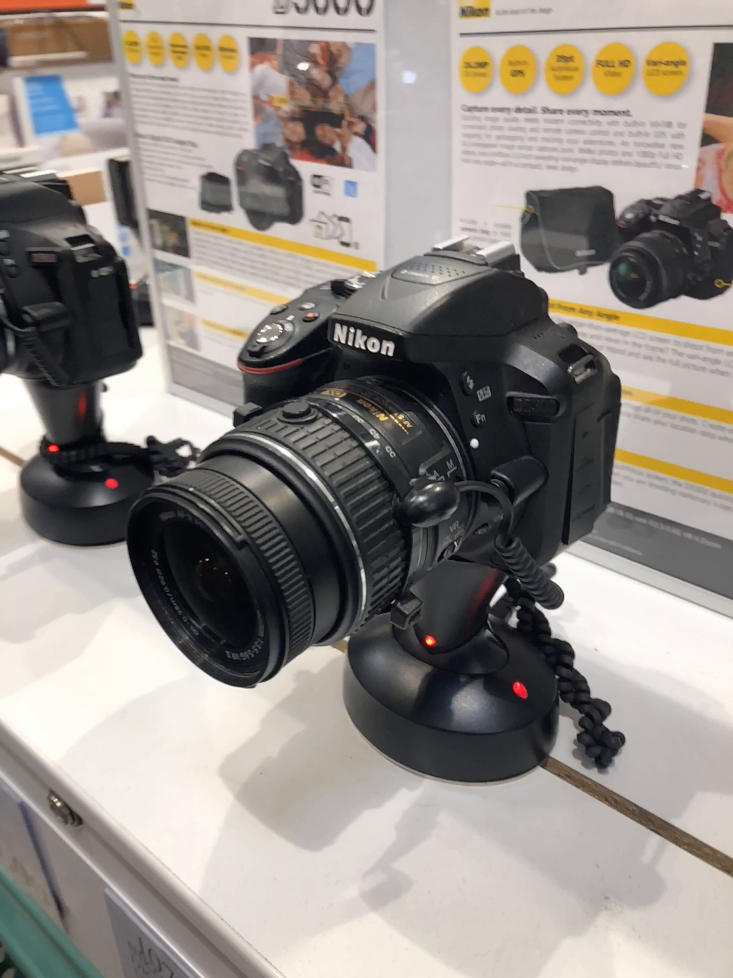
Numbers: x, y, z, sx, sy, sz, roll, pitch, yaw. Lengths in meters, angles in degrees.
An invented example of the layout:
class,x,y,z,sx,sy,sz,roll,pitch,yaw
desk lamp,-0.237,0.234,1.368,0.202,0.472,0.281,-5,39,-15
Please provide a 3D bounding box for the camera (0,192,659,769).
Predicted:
class,x,y,z,sx,sy,sz,roll,pitch,yaw
camera,-0.010,-0.025,0.250,0.130,0.089,0.150,21,37,33
